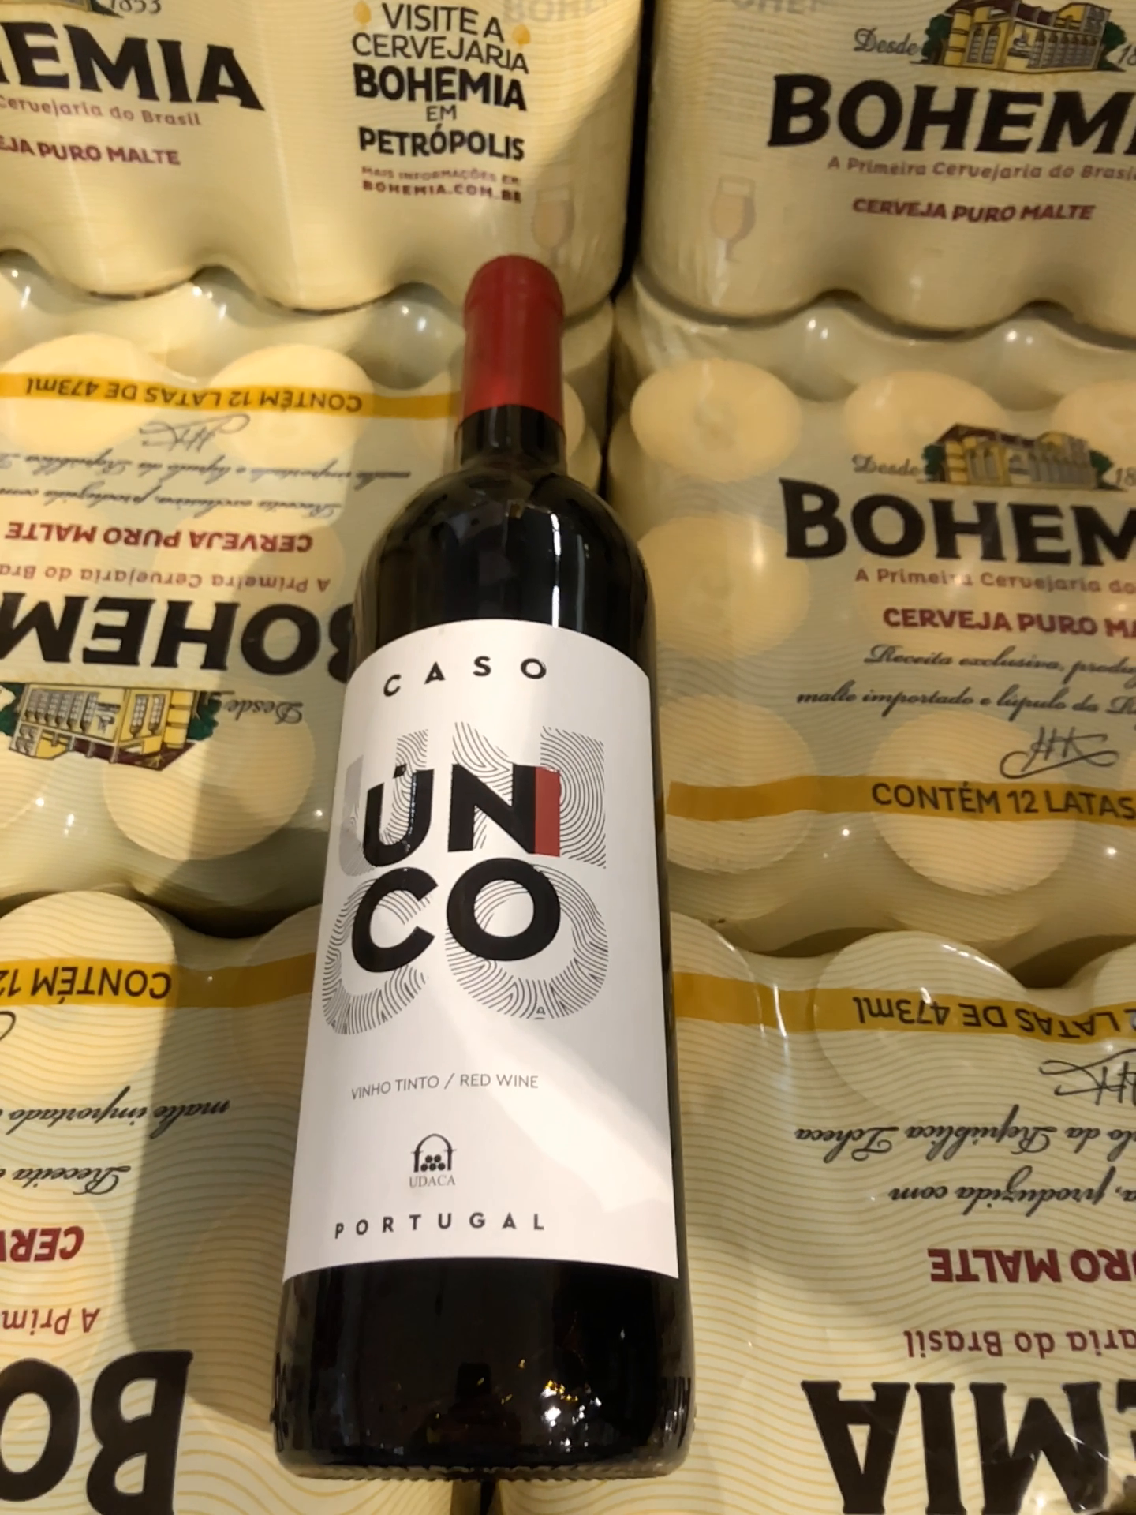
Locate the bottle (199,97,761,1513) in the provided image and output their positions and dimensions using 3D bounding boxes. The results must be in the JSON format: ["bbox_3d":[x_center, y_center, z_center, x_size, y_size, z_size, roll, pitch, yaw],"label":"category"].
[{"bbox_3d":[-0.015,-0.019,0.294,0.080,0.070,0.332,0,60,-2],"label":"bottle"}]
